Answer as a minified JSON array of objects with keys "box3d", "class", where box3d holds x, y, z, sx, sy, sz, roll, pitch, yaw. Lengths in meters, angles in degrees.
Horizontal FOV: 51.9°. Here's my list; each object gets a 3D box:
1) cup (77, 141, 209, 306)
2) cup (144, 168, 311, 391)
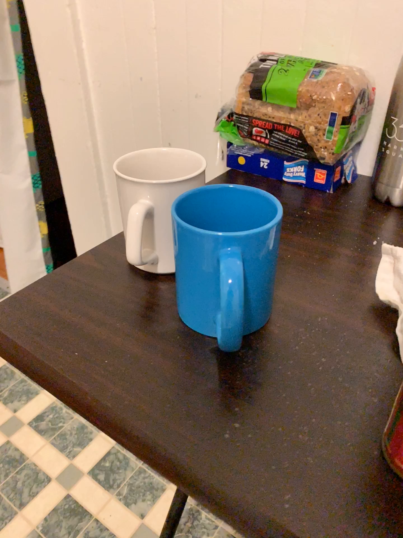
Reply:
[{"box3d":[-0.042,-0.048,0.386,0.090,0.099,0.131,2,35,4],"class":"cup"},{"box3d":[0.018,-0.001,0.310,0.090,0.099,0.141,1,35,3],"class":"cup"}]
